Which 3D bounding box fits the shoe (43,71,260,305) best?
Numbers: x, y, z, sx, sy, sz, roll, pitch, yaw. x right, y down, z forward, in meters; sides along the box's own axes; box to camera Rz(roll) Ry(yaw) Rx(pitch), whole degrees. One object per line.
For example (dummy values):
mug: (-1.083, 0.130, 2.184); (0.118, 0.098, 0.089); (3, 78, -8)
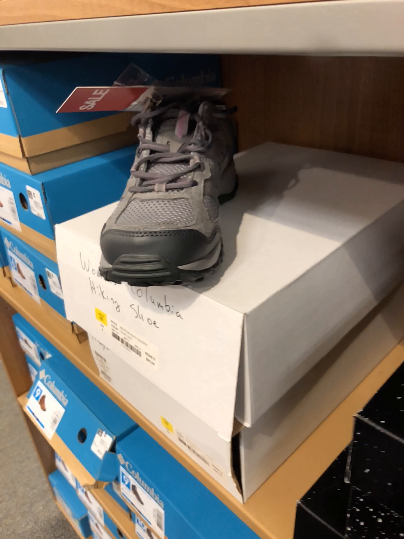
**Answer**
shoe: (-0.014, -0.095, 0.405); (0.104, 0.114, 0.268); (2, 31, 13)
